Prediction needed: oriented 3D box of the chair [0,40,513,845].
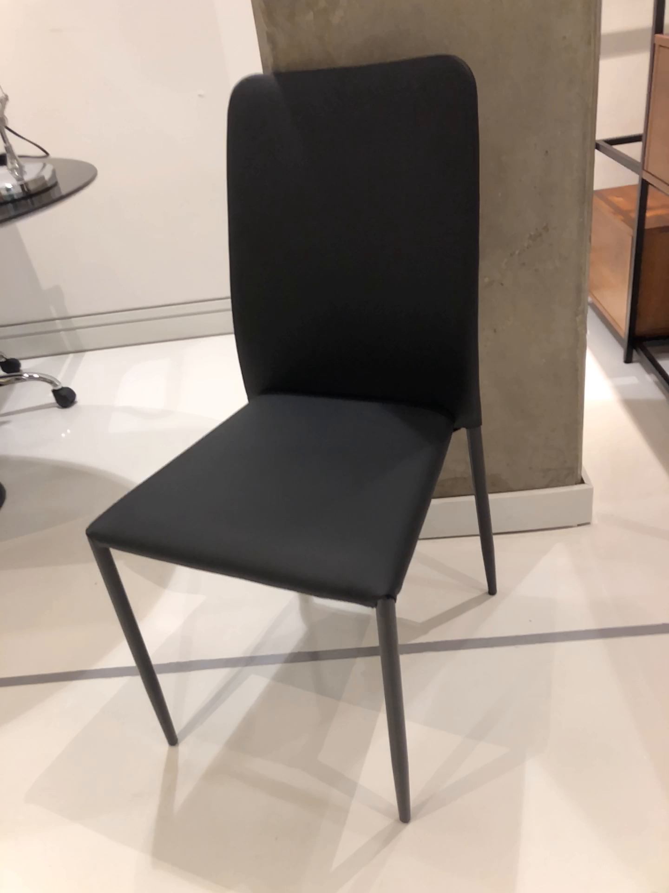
[{"bbox_3d":[-0.053,-0.017,1.044,0.471,0.883,0.543,8,36,26],"label":"chair"}]
